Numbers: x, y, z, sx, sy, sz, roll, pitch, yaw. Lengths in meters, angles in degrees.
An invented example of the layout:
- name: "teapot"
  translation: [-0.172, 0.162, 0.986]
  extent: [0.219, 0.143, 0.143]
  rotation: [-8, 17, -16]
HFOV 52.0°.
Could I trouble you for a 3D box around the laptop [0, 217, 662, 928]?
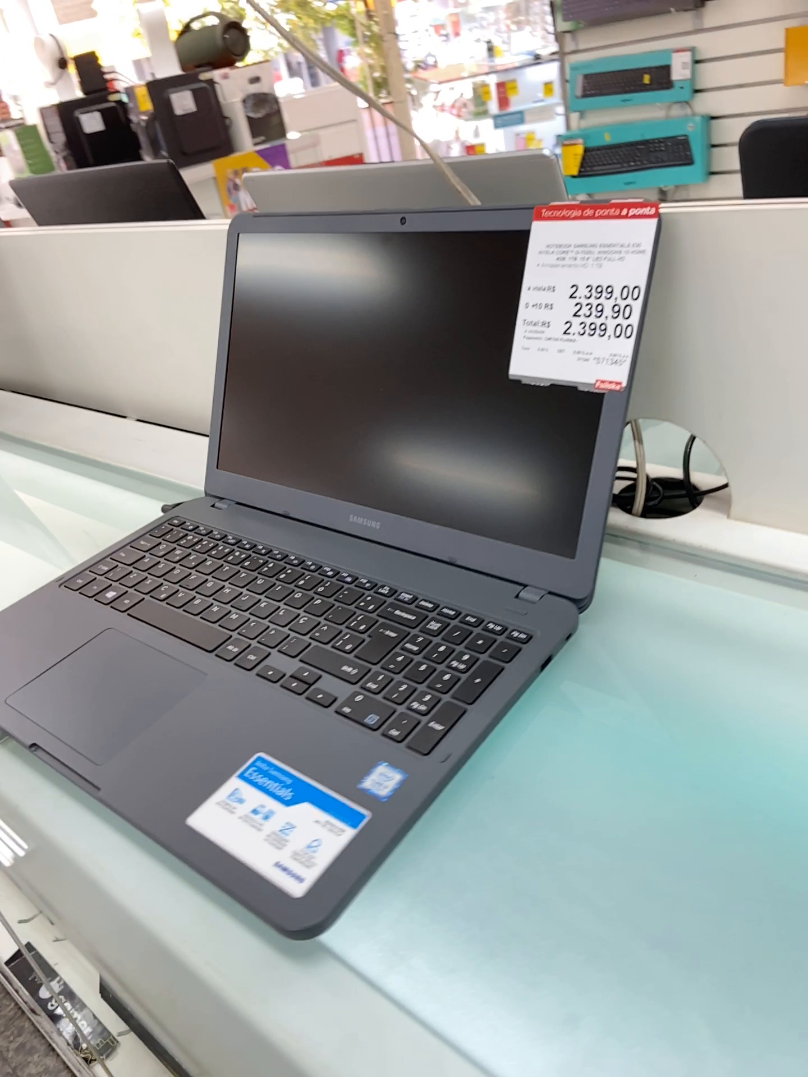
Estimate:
- name: "laptop"
  translation: [-0.091, -0.047, 0.510]
  extent: [0.361, 0.197, 0.352]
  rotation: [15, 39, 37]
